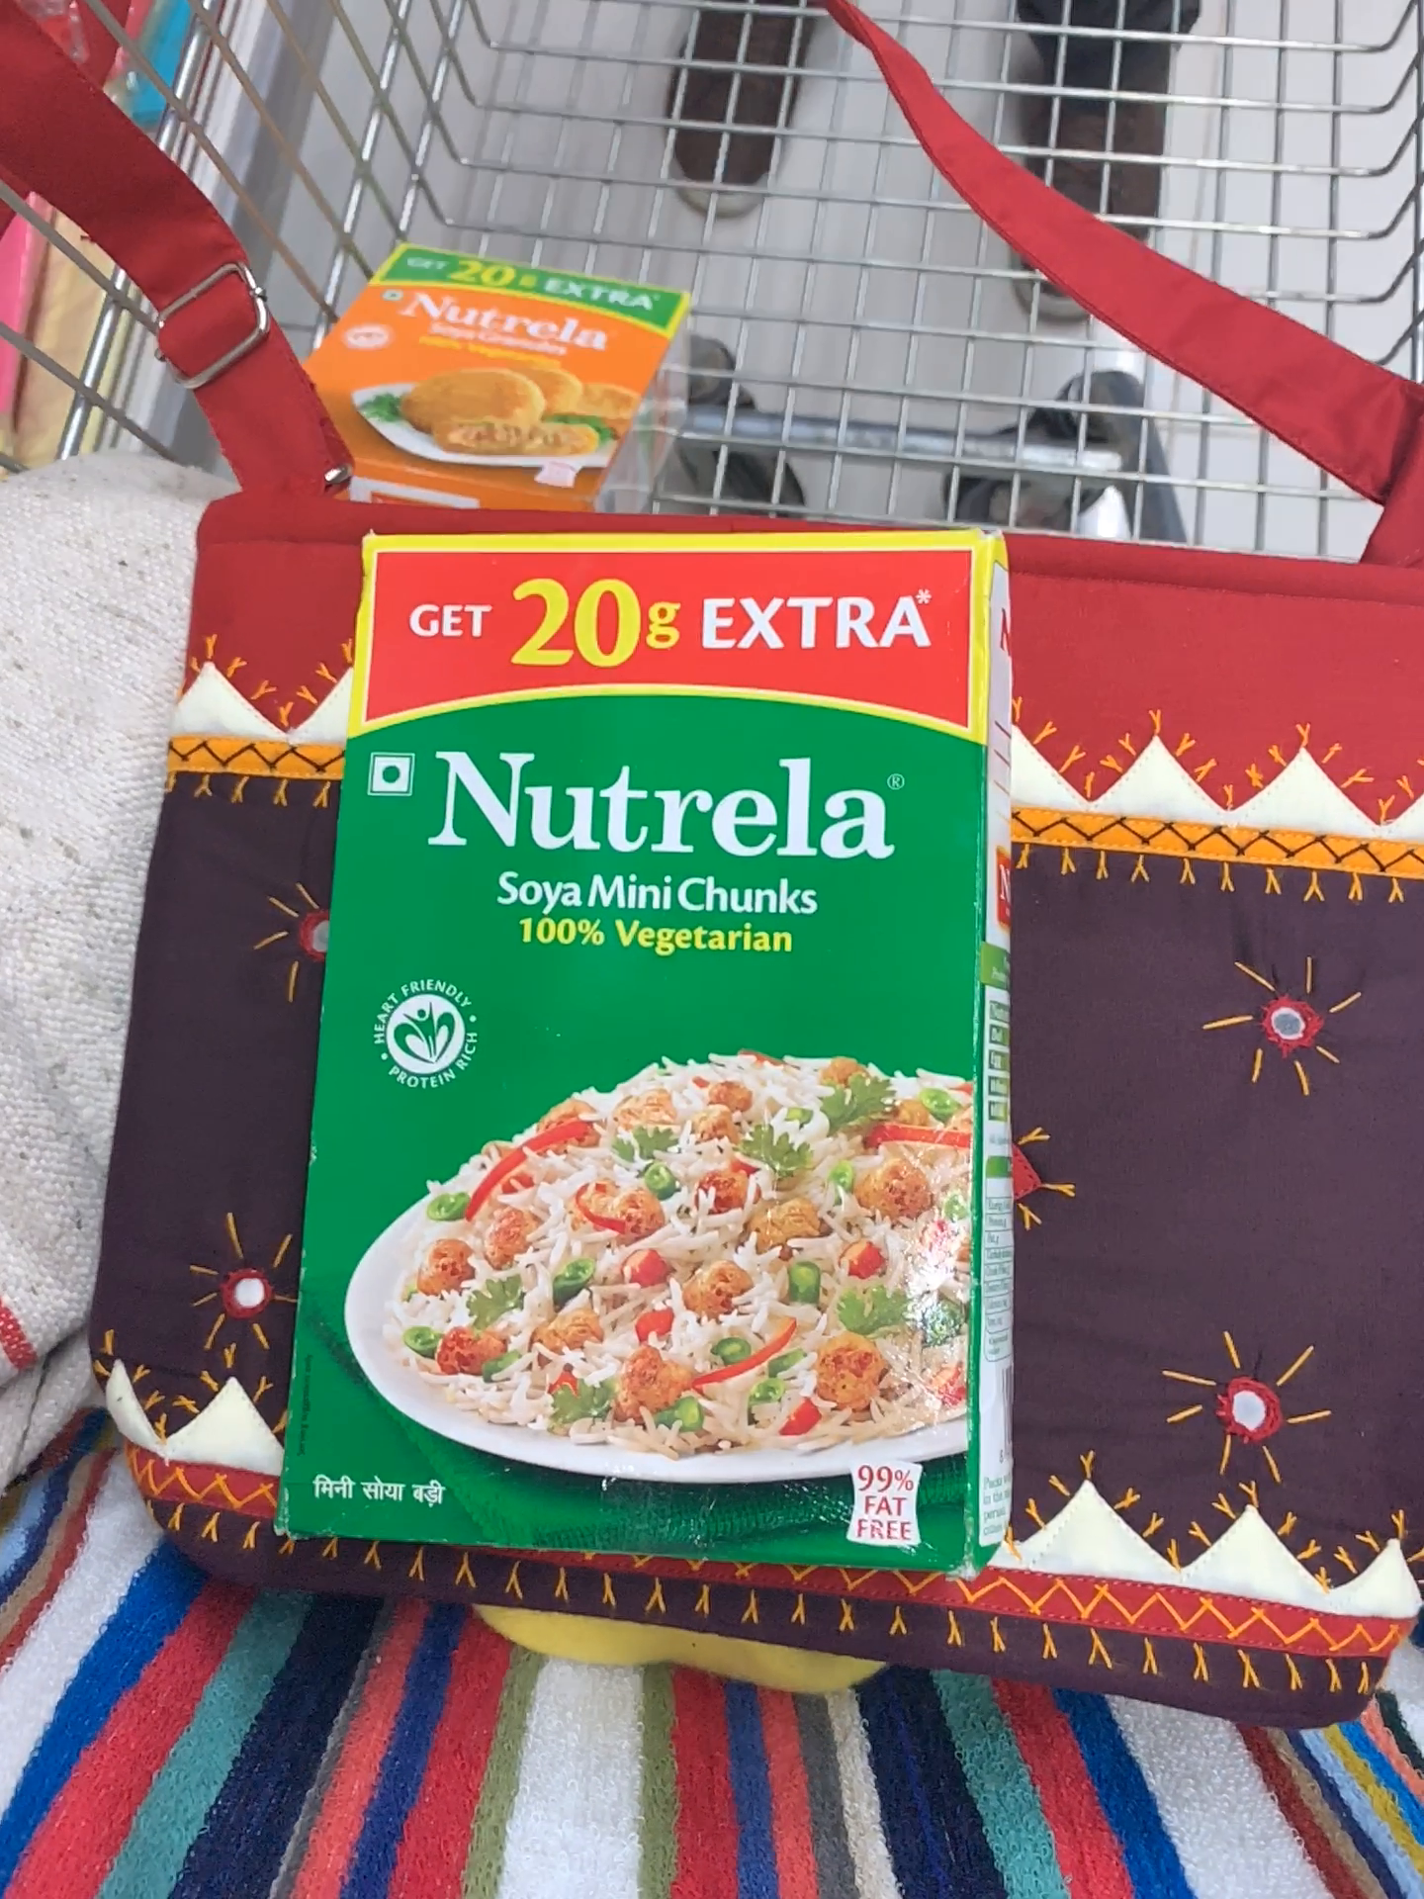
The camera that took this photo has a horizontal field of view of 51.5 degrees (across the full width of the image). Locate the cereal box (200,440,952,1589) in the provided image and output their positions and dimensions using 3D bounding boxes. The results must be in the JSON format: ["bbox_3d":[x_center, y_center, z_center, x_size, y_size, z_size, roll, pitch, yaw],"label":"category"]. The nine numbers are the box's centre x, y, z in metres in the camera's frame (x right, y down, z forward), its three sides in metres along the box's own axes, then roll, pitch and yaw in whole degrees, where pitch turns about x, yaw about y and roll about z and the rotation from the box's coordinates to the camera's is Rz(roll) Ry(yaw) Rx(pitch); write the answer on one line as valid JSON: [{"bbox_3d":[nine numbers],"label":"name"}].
[{"bbox_3d":[-0.018,0.008,0.272,0.120,0.050,0.190,1,81,5],"label":"cereal box"}]
